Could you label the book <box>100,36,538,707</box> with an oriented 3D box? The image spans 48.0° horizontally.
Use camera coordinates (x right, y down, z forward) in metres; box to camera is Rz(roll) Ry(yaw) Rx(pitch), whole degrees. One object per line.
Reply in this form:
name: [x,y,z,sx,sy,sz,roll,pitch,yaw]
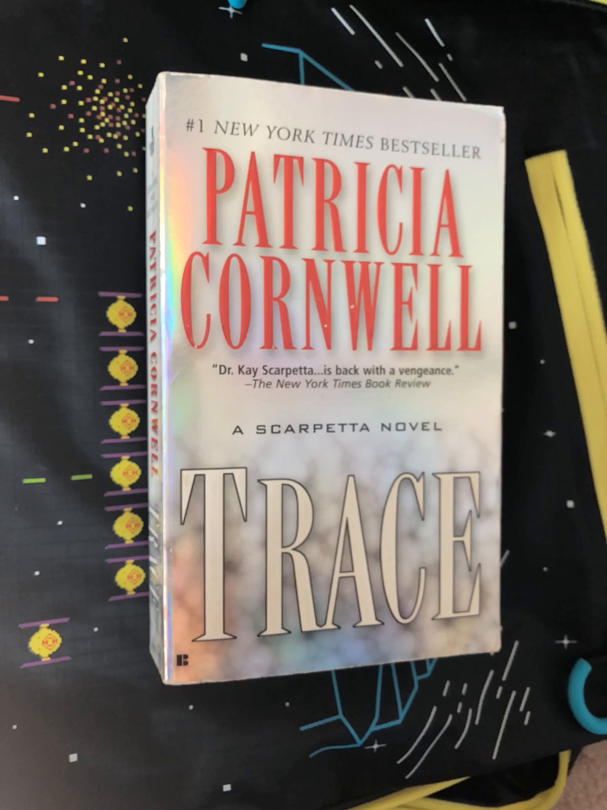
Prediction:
book: [0.004,-0.008,0.205,0.120,0.040,0.170,-1,92,-12]
